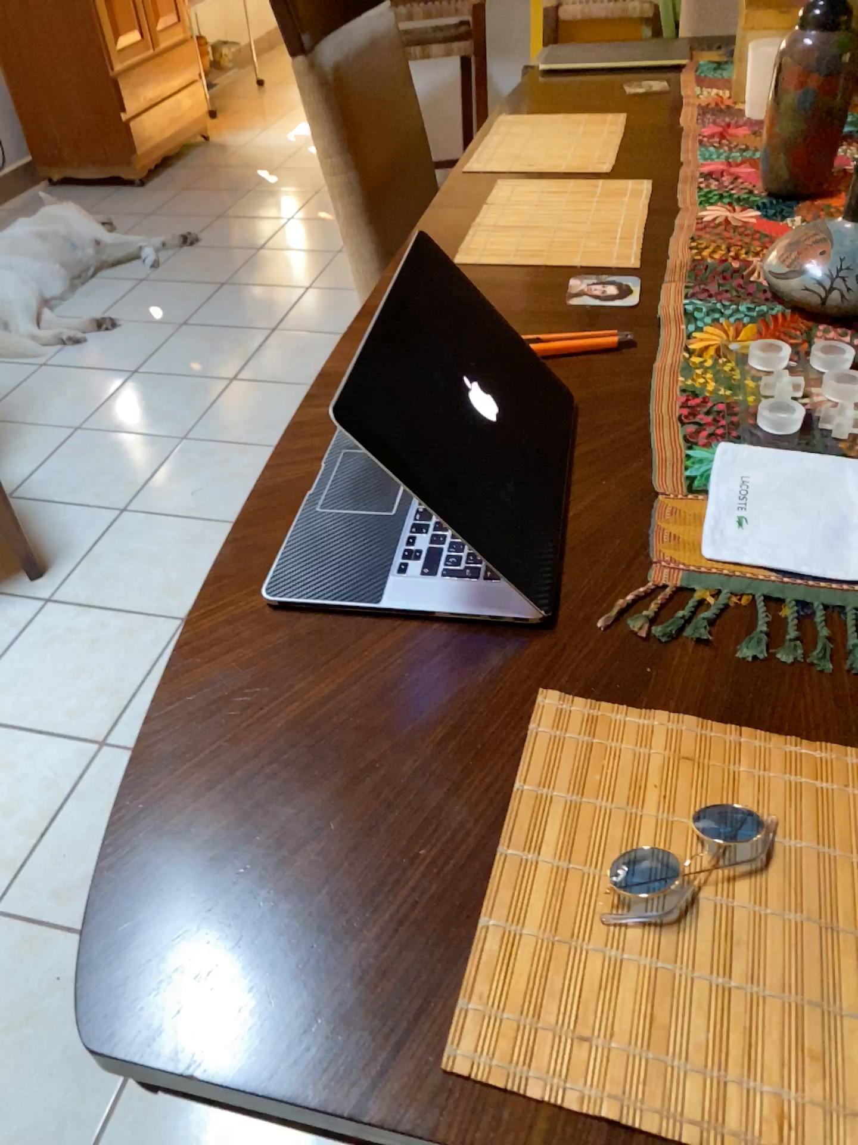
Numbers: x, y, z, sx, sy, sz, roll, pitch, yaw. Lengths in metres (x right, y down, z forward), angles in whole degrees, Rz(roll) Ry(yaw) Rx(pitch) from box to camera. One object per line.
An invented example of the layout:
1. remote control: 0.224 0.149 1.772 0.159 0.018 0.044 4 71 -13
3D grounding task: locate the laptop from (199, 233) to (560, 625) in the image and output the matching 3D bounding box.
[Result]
1. laptop: -0.013 -0.151 0.795 0.235 0.181 0.356 4 41 10
